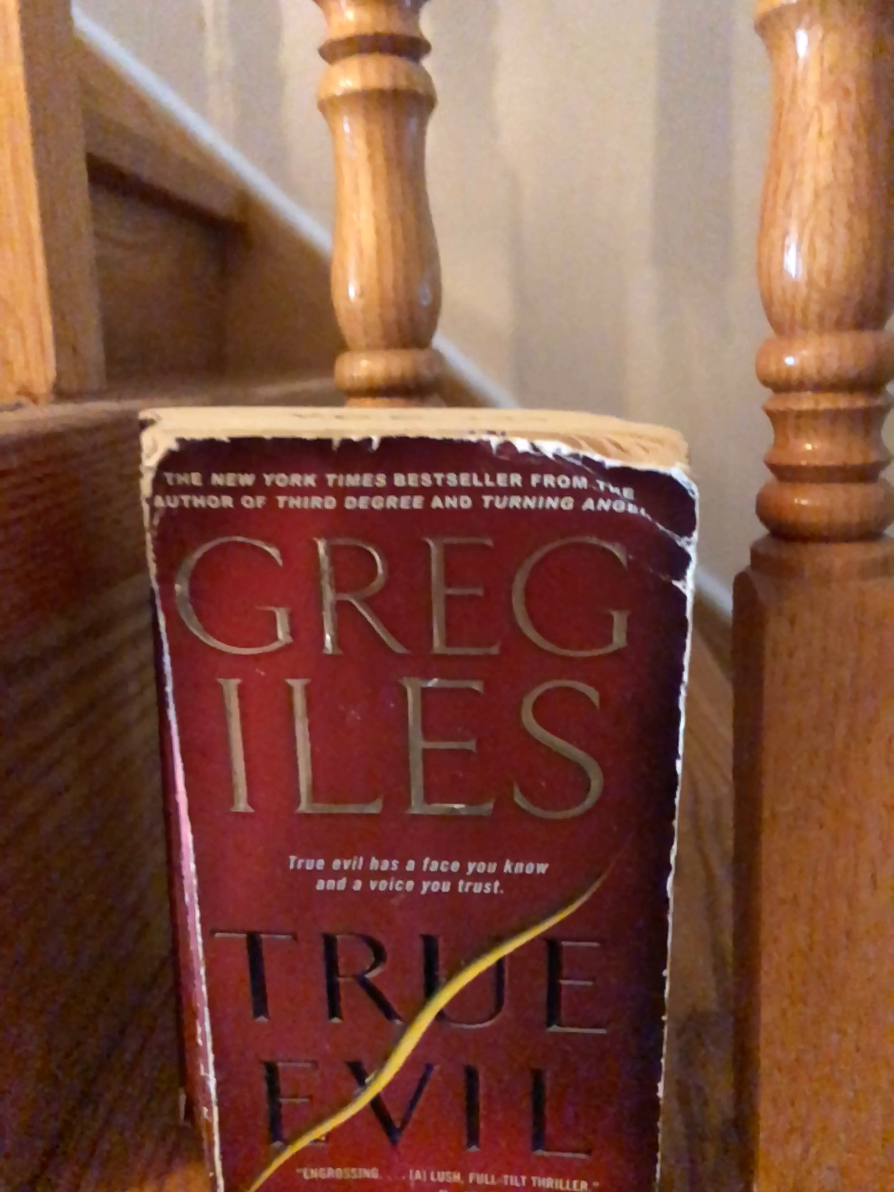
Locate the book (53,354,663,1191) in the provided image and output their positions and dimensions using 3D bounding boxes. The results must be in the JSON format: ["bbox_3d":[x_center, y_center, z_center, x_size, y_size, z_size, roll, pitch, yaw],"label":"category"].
[{"bbox_3d":[-0.012,0.047,0.251,0.120,0.205,0.068,-1,13,5],"label":"book"}]
